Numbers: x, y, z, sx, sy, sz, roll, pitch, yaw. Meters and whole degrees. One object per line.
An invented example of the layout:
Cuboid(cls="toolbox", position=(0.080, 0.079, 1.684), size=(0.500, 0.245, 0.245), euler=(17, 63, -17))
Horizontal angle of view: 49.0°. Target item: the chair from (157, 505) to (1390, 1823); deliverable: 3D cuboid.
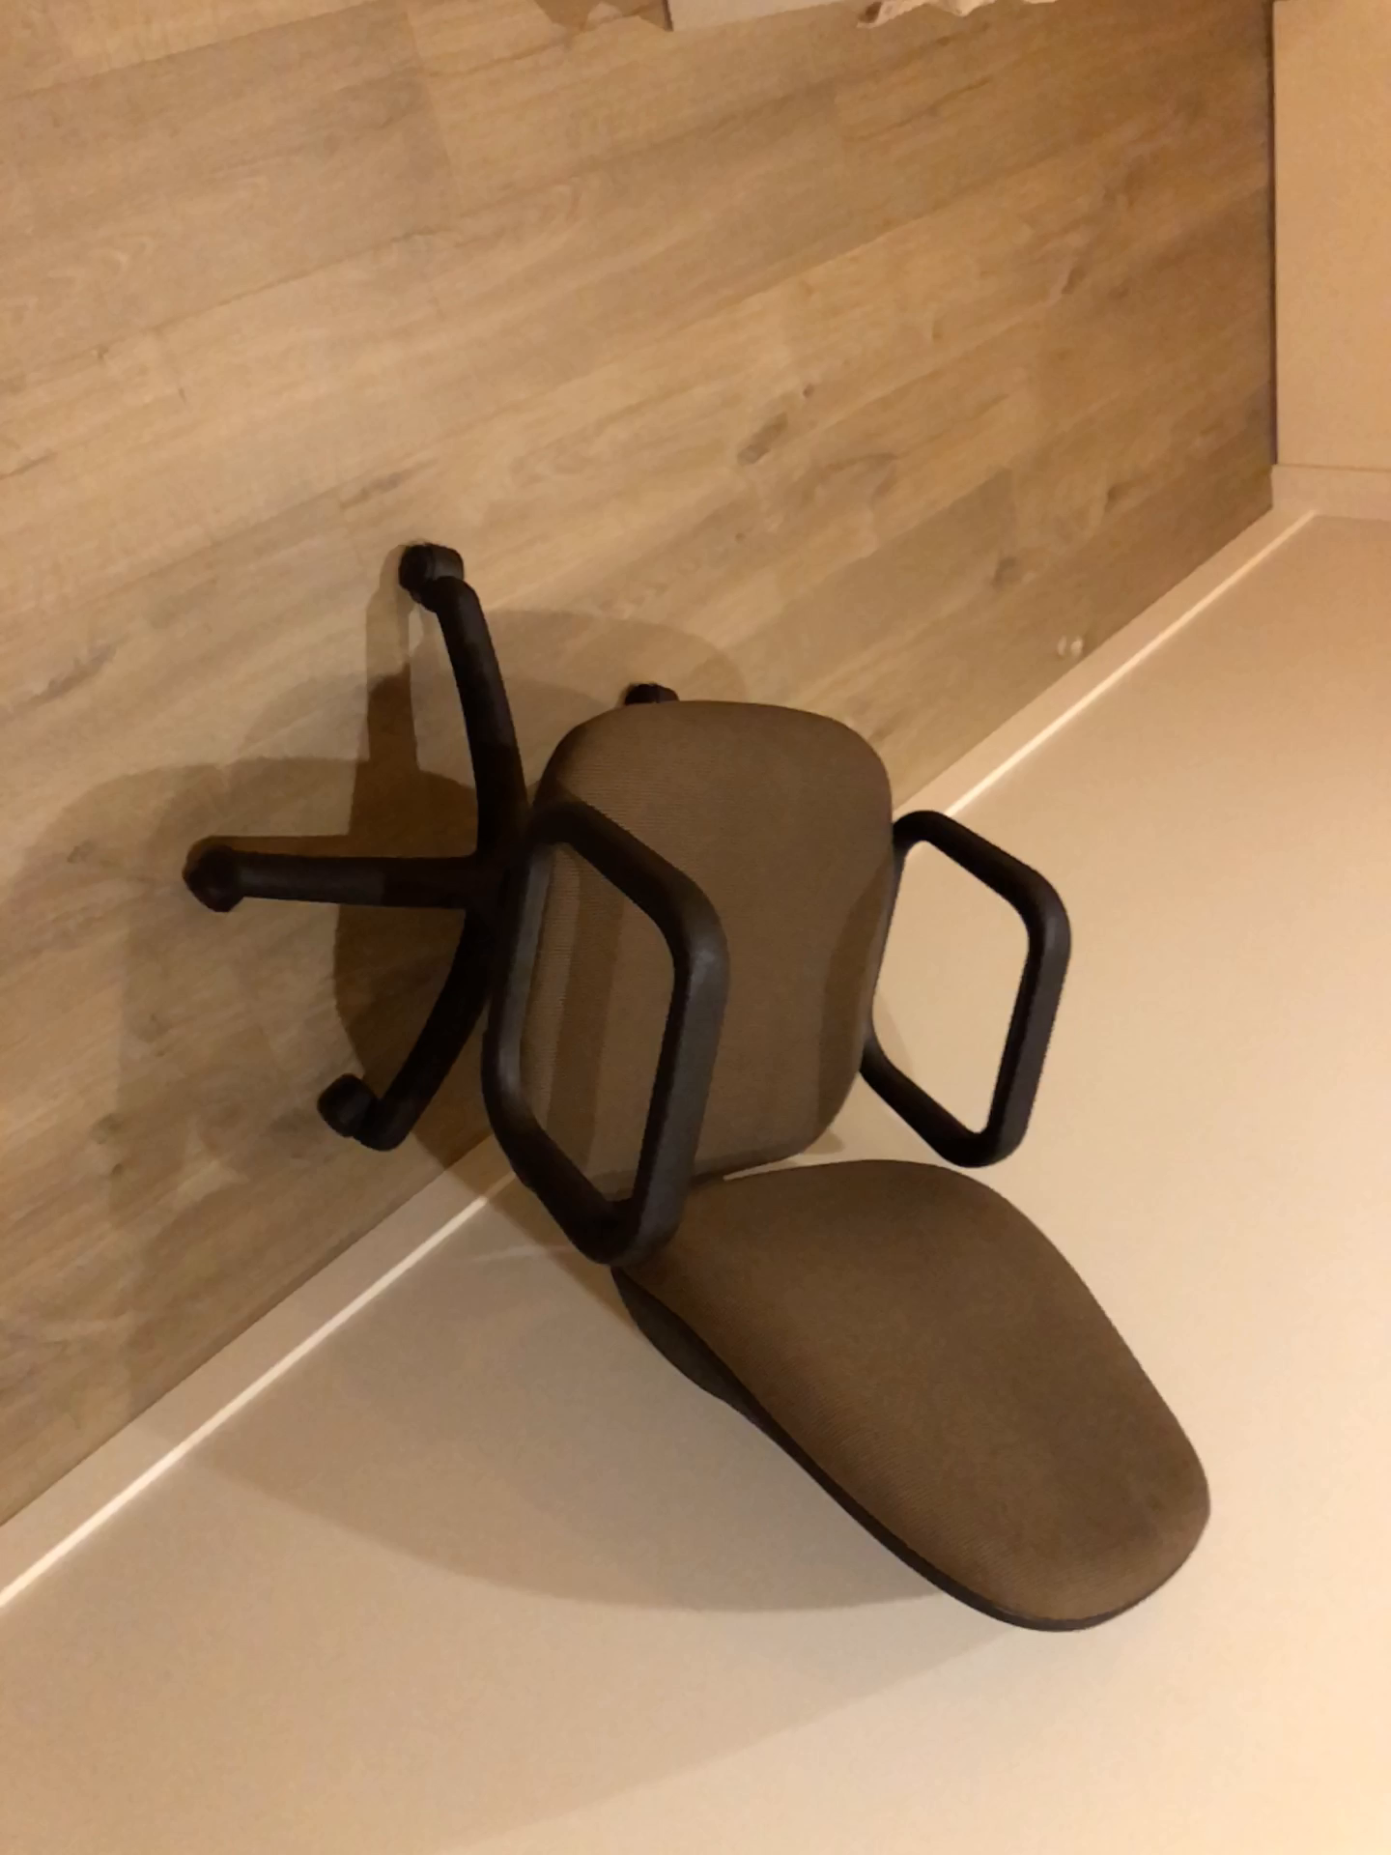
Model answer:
Cuboid(cls="chair", position=(0.061, 0.061, 1.402), size=(0.633, 0.975, 0.710), euler=(-4, 108, -46))
